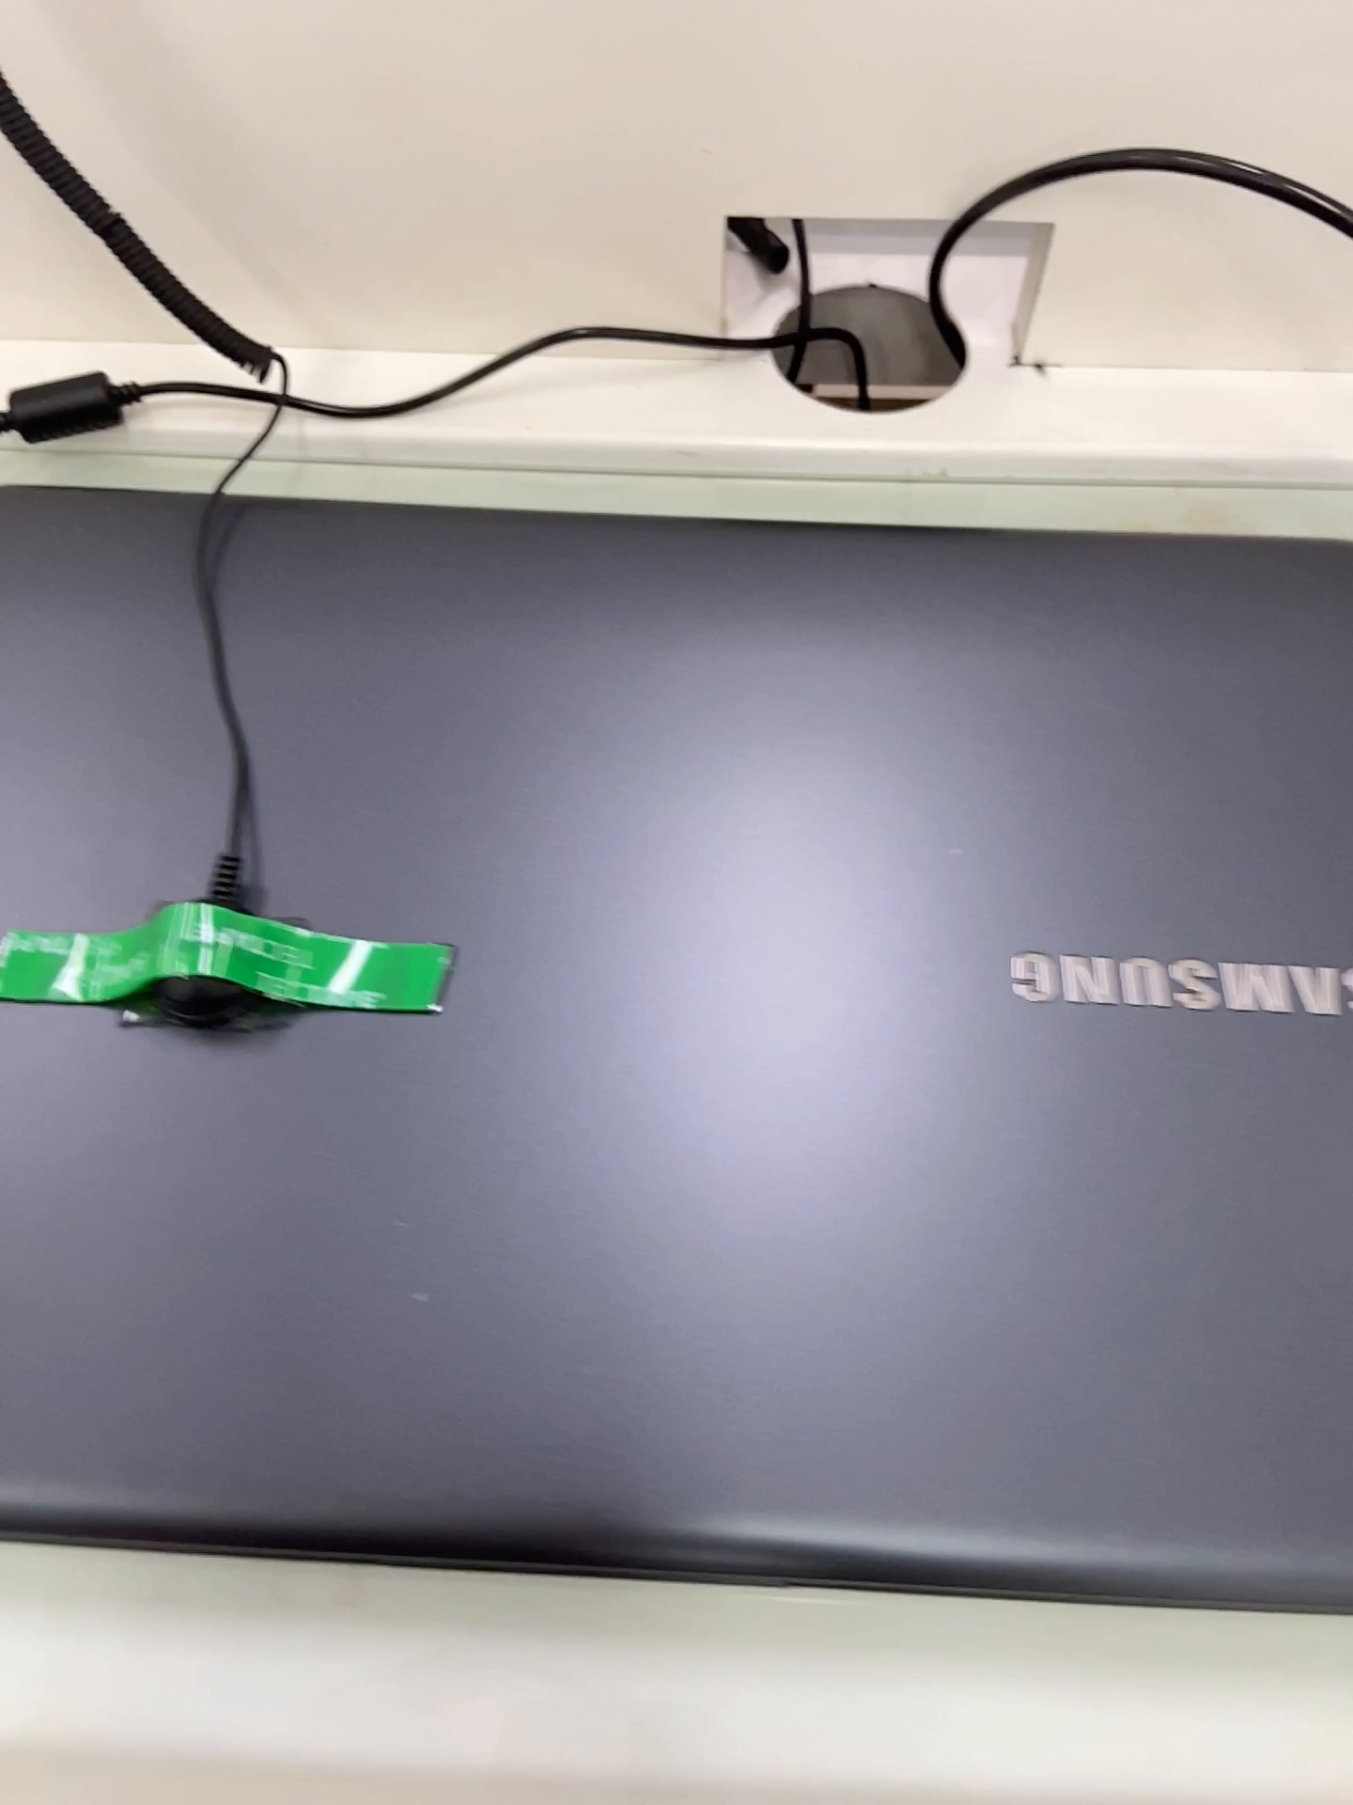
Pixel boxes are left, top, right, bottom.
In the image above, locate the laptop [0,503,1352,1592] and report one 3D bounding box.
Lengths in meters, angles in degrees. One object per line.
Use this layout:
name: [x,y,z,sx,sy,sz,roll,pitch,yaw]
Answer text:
laptop: [-0.009,0.006,0.293,0.350,0.001,0.233,3,59,1]
